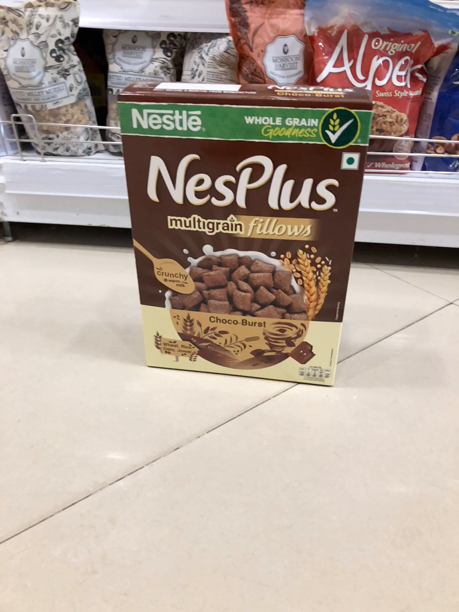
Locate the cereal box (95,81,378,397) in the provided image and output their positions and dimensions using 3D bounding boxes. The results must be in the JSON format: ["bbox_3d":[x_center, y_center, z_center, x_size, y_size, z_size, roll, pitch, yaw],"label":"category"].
[{"bbox_3d":[0.005,-0.050,0.445,0.200,0.258,0.060,5,31,8],"label":"cereal box"}]
